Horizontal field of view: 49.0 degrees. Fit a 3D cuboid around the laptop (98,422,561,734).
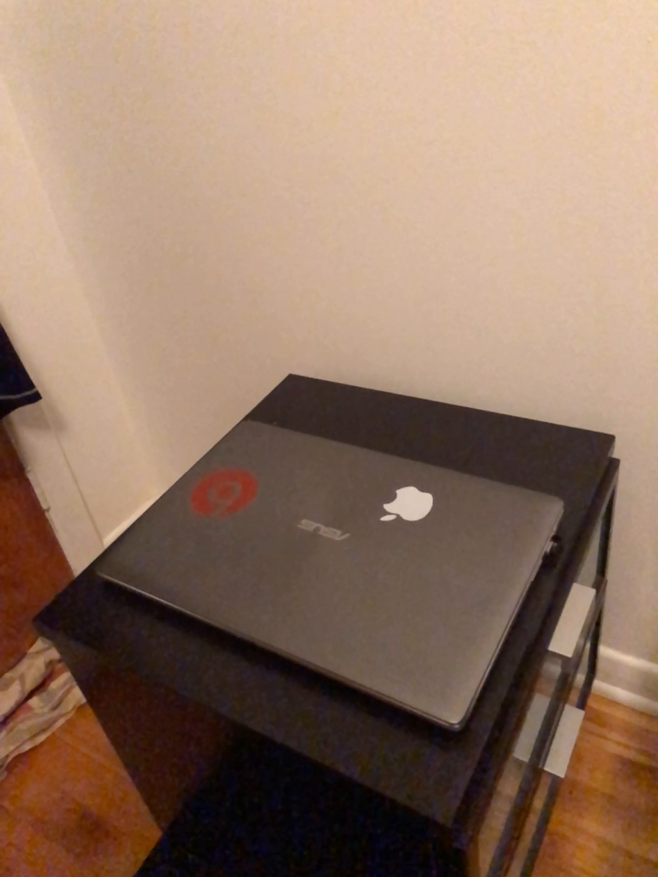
[{"bbox_3d":[-0.004,0.096,0.685,0.374,0.010,0.249,13,43,30],"label":"laptop"}]
